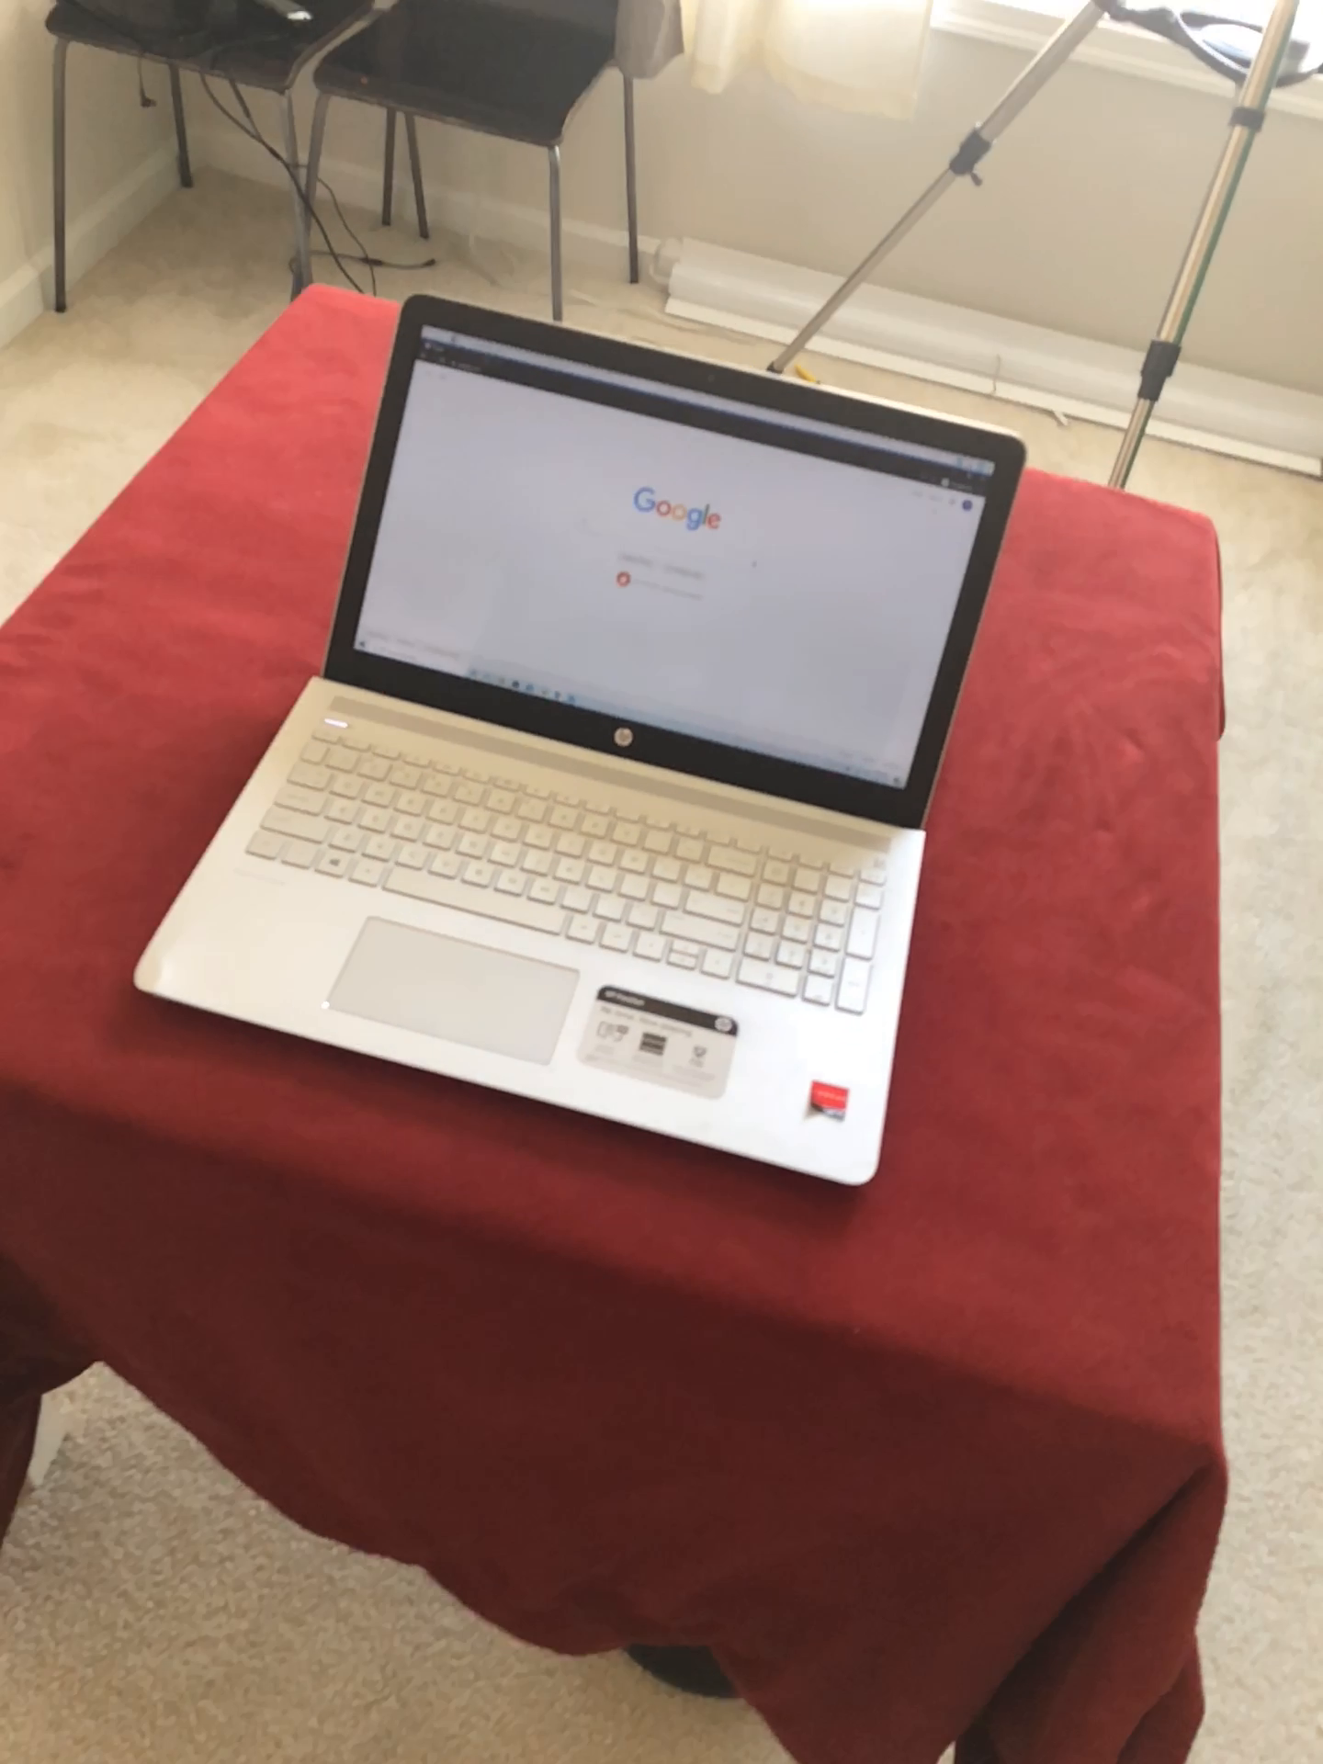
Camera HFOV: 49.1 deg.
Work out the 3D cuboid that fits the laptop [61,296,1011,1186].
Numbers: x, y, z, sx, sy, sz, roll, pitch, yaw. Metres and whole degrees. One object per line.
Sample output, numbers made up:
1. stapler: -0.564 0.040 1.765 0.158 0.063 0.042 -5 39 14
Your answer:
1. laptop: -0.032 -0.098 0.761 0.360 0.158 0.397 15 49 3
